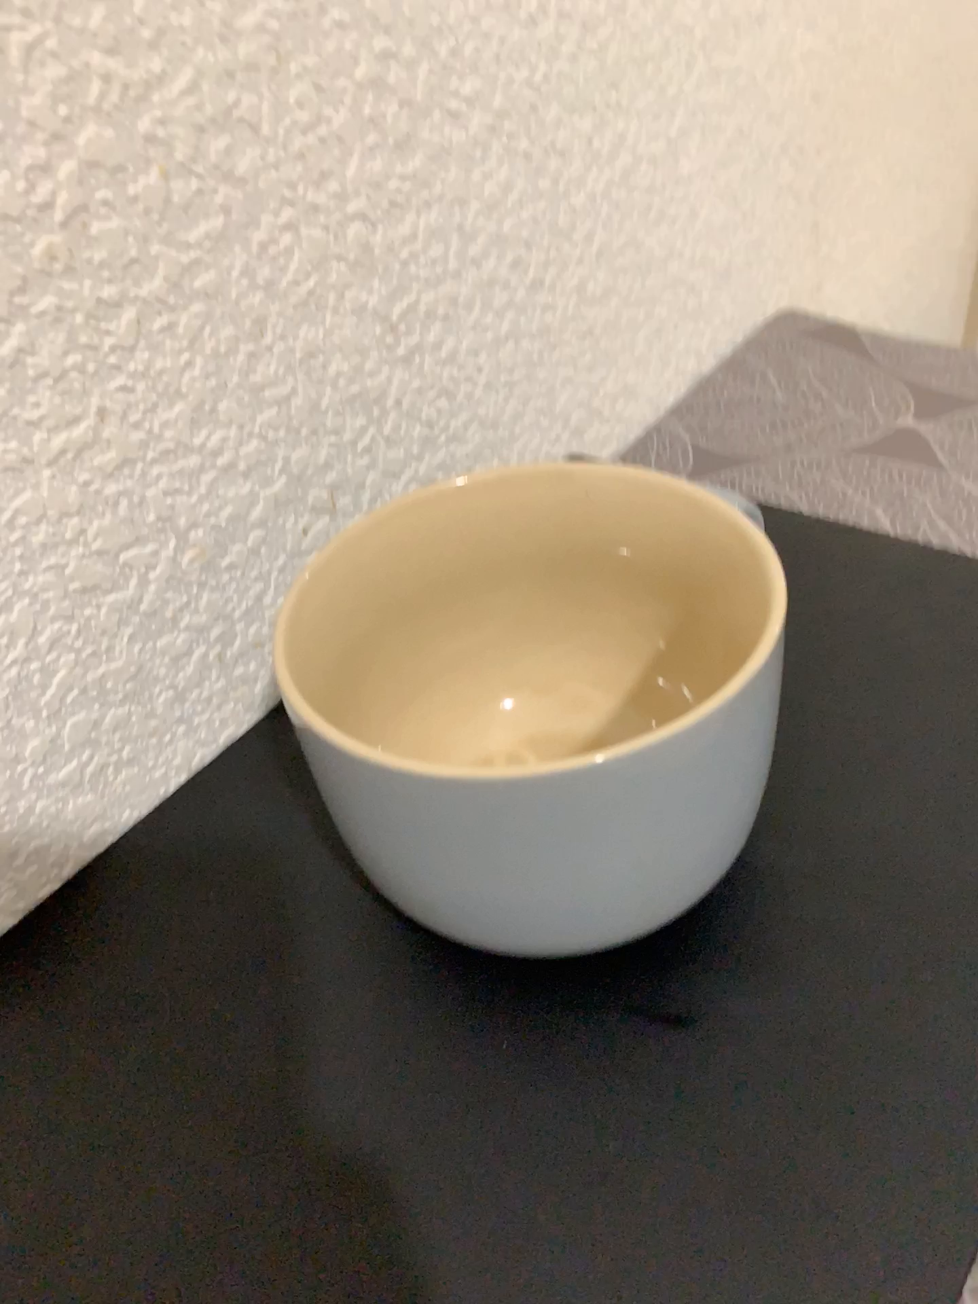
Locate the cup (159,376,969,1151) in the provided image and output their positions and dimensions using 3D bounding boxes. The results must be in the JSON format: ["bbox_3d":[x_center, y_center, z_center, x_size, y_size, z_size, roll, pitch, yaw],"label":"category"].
[{"bbox_3d":[0.021,0.011,0.238,0.111,0.079,0.133,27,53,37],"label":"cup"}]
